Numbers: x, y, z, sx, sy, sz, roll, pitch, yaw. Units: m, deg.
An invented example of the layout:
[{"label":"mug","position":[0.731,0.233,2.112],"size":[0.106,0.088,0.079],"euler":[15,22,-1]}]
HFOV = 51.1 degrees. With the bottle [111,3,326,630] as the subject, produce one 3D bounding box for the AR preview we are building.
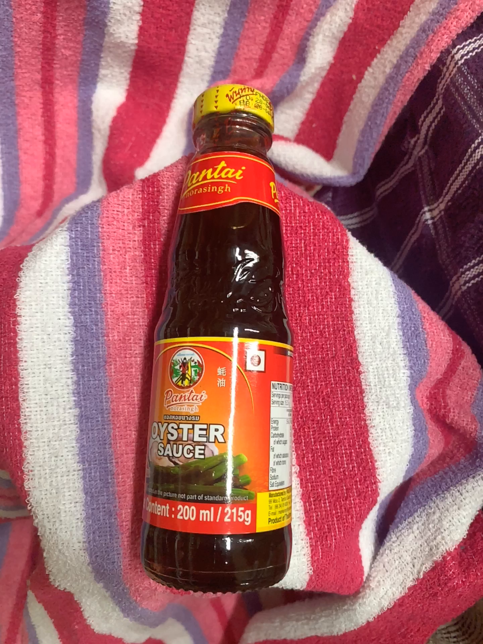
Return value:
[{"label":"bottle","position":[-0.002,-0.007,0.182],"size":[0.050,0.050,0.190],"euler":[-3,77,26]}]
